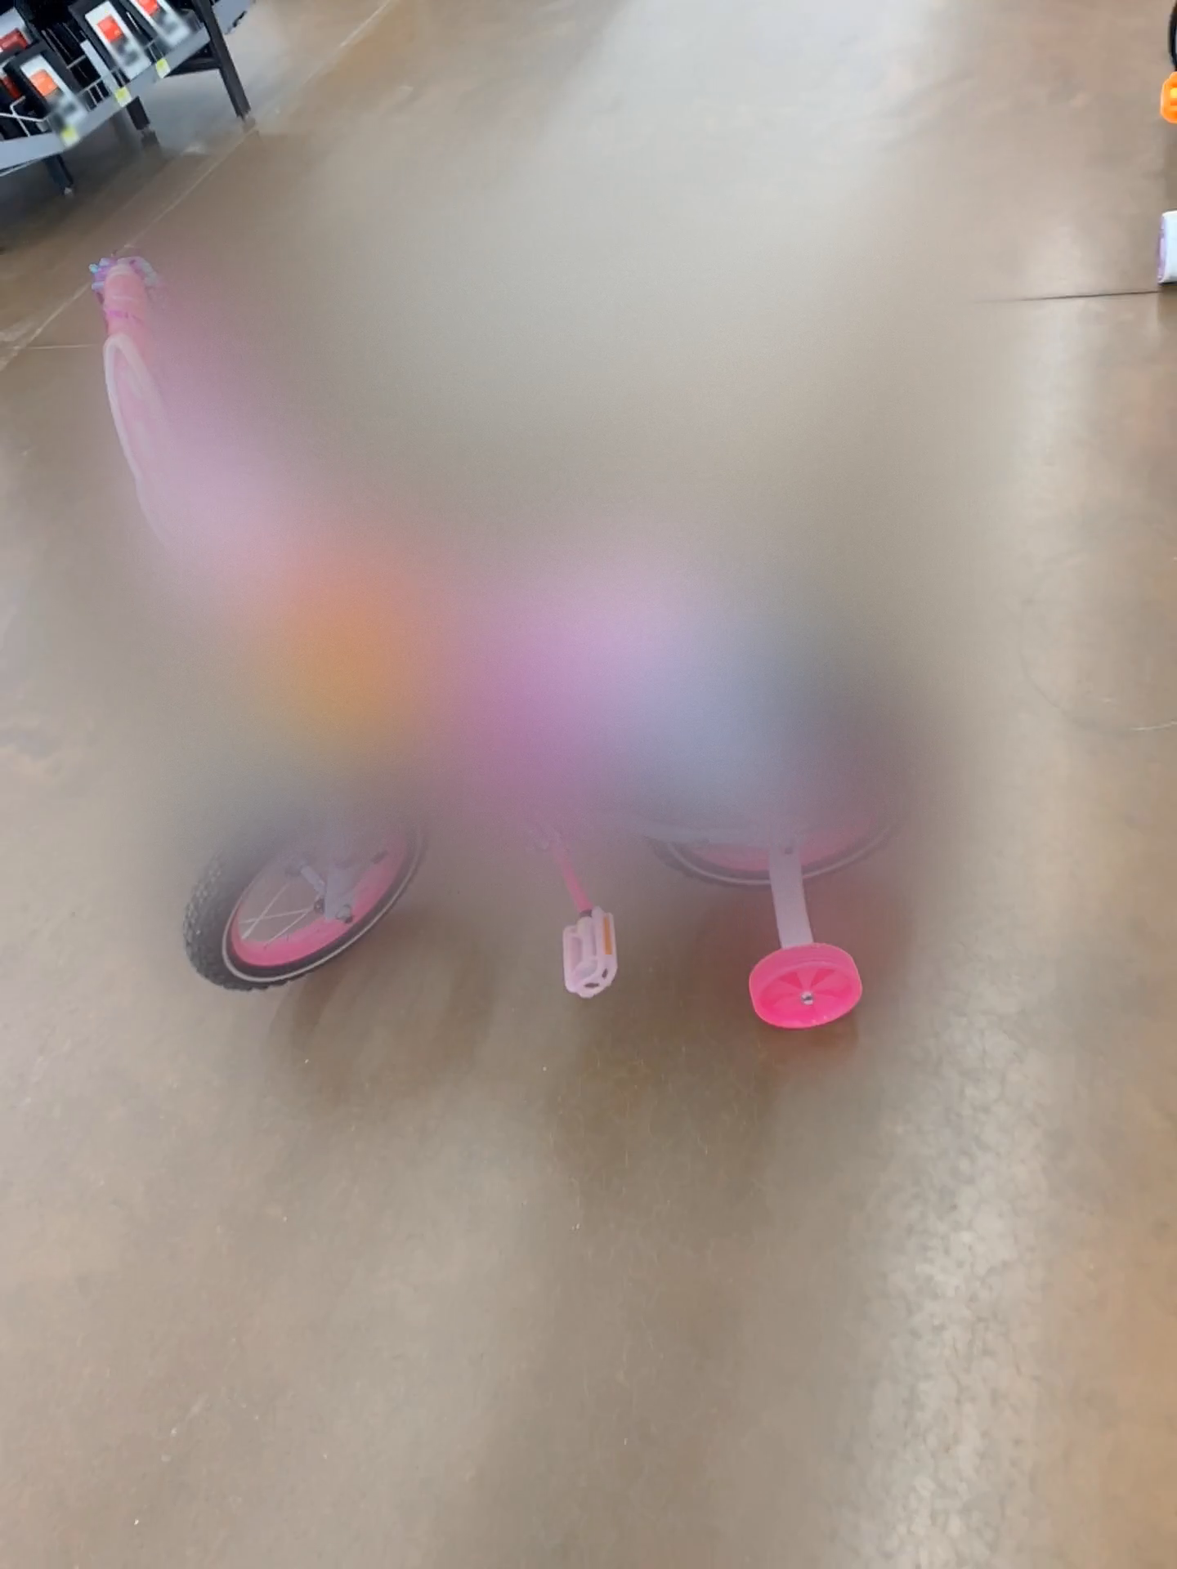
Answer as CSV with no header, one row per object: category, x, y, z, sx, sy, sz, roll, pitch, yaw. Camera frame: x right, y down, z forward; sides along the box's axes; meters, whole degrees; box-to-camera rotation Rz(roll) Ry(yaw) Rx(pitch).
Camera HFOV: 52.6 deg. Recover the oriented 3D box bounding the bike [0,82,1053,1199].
bike,-0.081,-0.060,1.106,0.776,0.707,0.429,-17,46,5
